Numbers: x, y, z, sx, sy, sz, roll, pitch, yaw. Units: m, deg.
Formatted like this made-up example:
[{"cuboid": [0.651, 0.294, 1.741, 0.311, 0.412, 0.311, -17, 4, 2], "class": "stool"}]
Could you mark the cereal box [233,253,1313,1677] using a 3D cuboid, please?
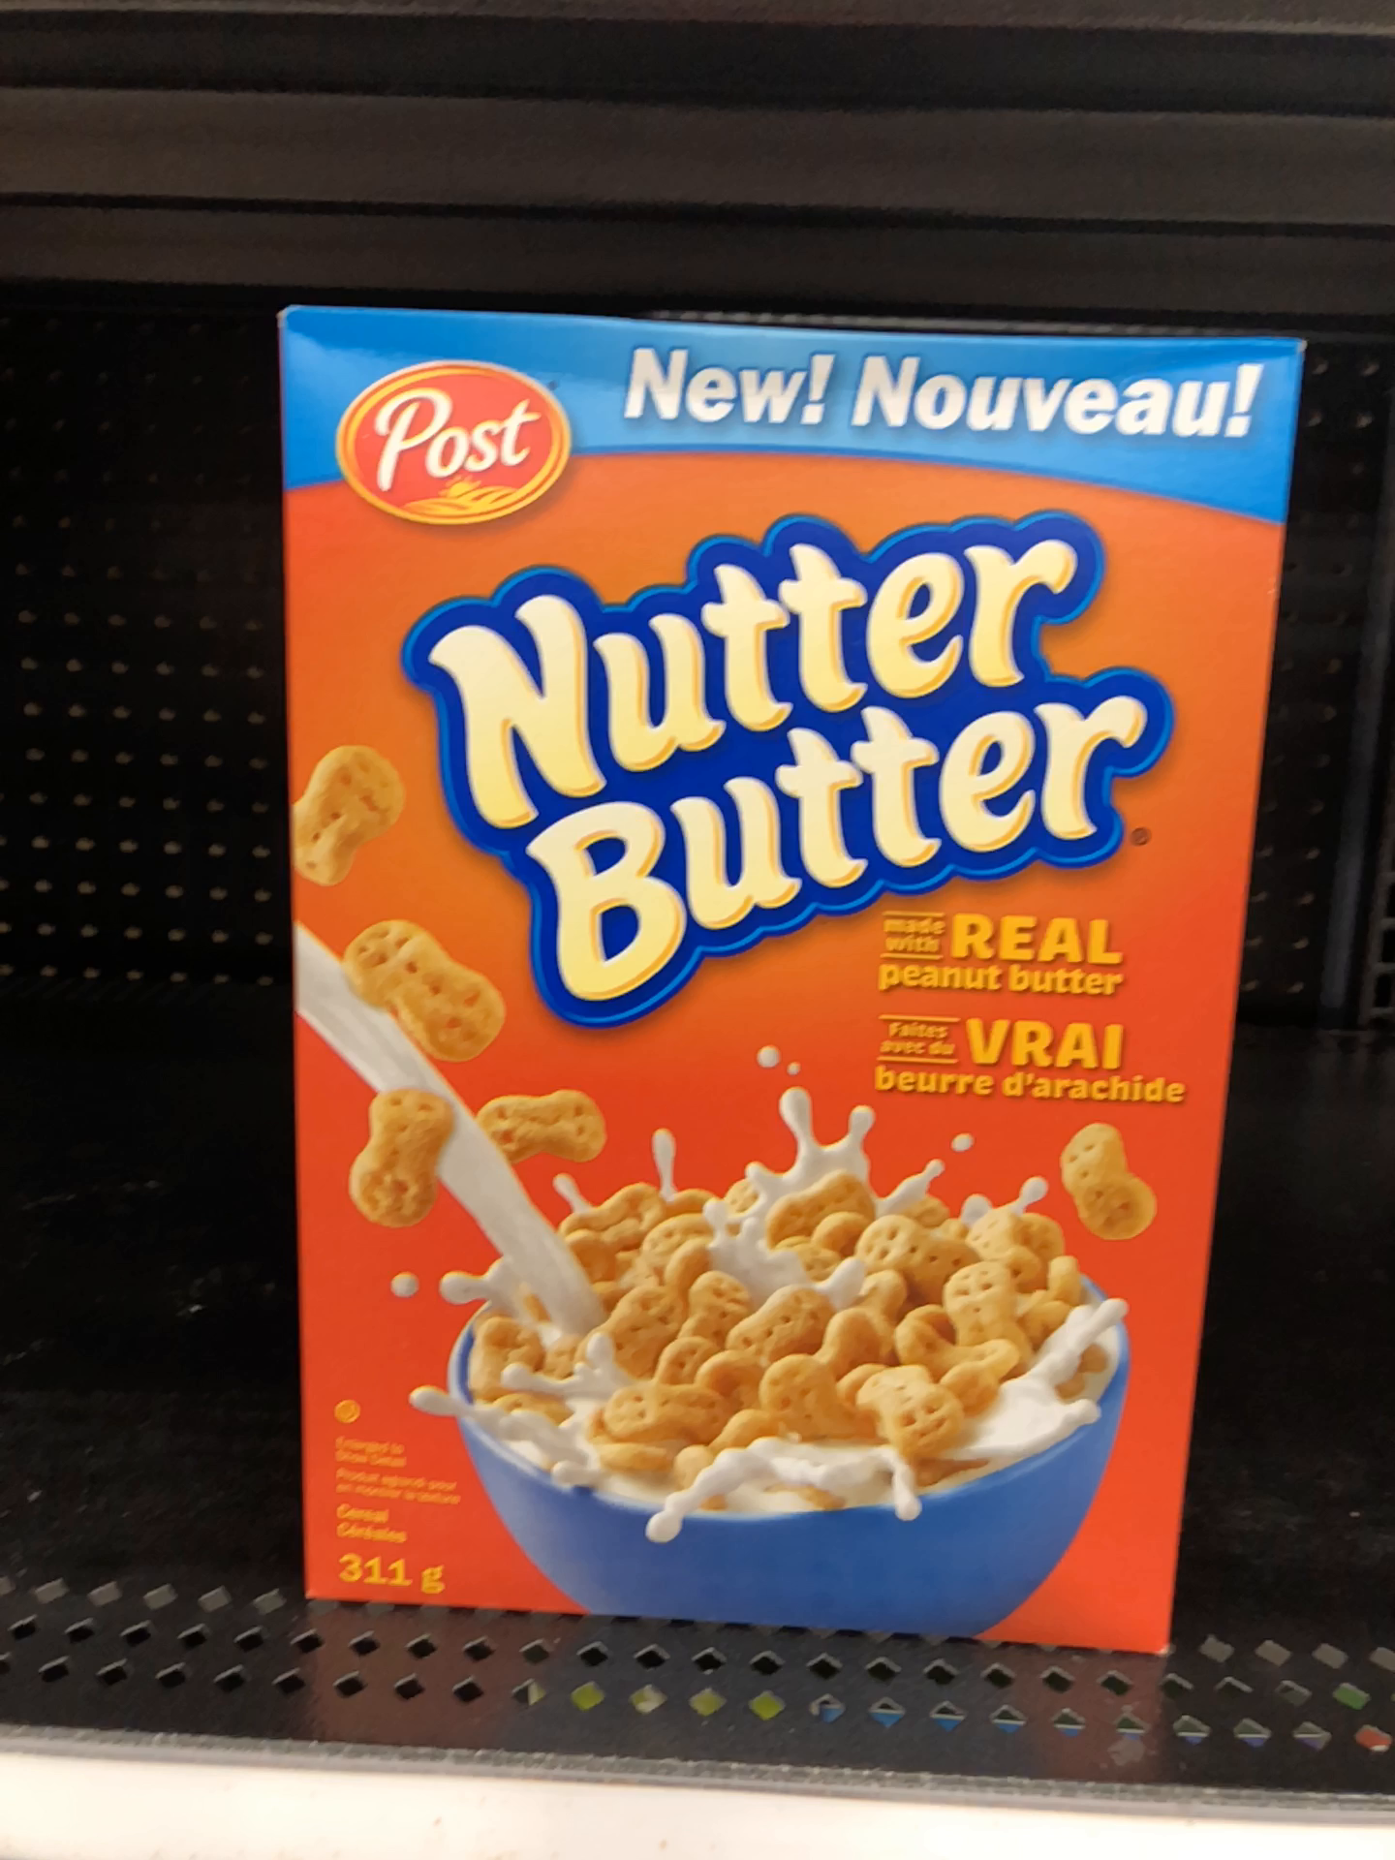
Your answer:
[{"cuboid": [0.010, 0.012, 0.331, 0.190, 0.279, 0.060, 2, 12, 3], "class": "cereal box"}]
